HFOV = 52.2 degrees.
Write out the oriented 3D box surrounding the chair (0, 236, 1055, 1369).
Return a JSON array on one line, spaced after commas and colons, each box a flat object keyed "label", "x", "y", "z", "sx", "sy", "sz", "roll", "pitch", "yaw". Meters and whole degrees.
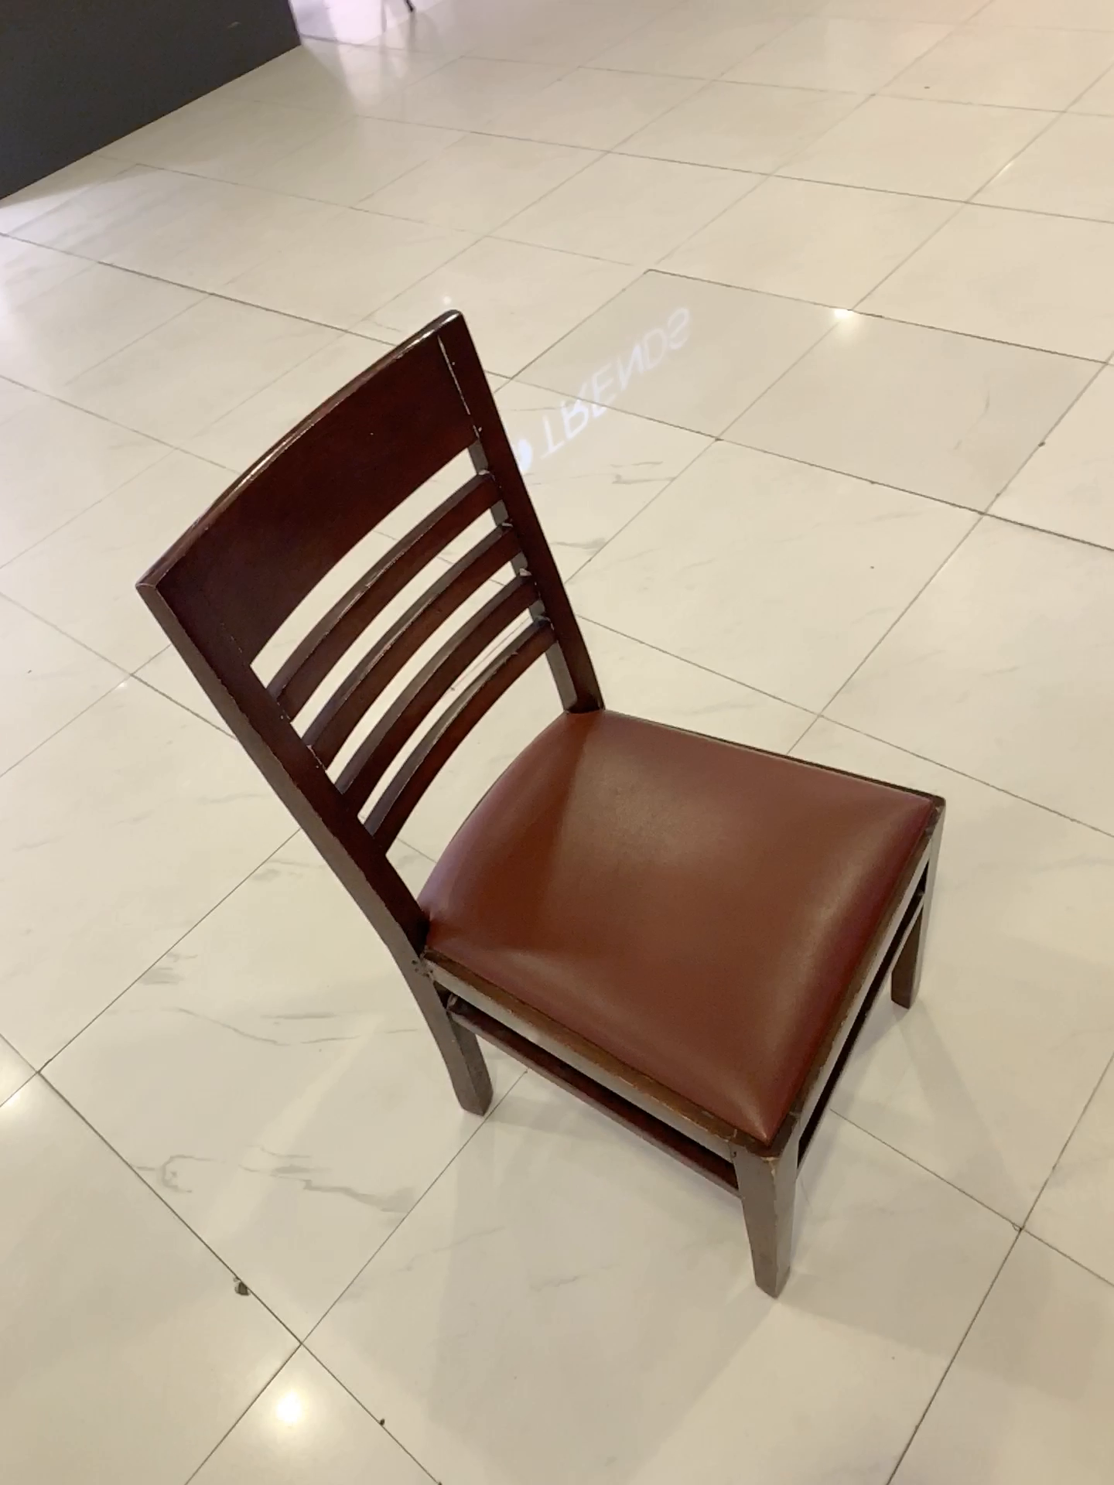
[{"label": "chair", "x": 0.050, "y": 0.060, "z": 1.072, "sx": 0.542, "sy": 0.784, "sz": 0.563, "roll": 19, "pitch": 54, "yaw": 28}]
